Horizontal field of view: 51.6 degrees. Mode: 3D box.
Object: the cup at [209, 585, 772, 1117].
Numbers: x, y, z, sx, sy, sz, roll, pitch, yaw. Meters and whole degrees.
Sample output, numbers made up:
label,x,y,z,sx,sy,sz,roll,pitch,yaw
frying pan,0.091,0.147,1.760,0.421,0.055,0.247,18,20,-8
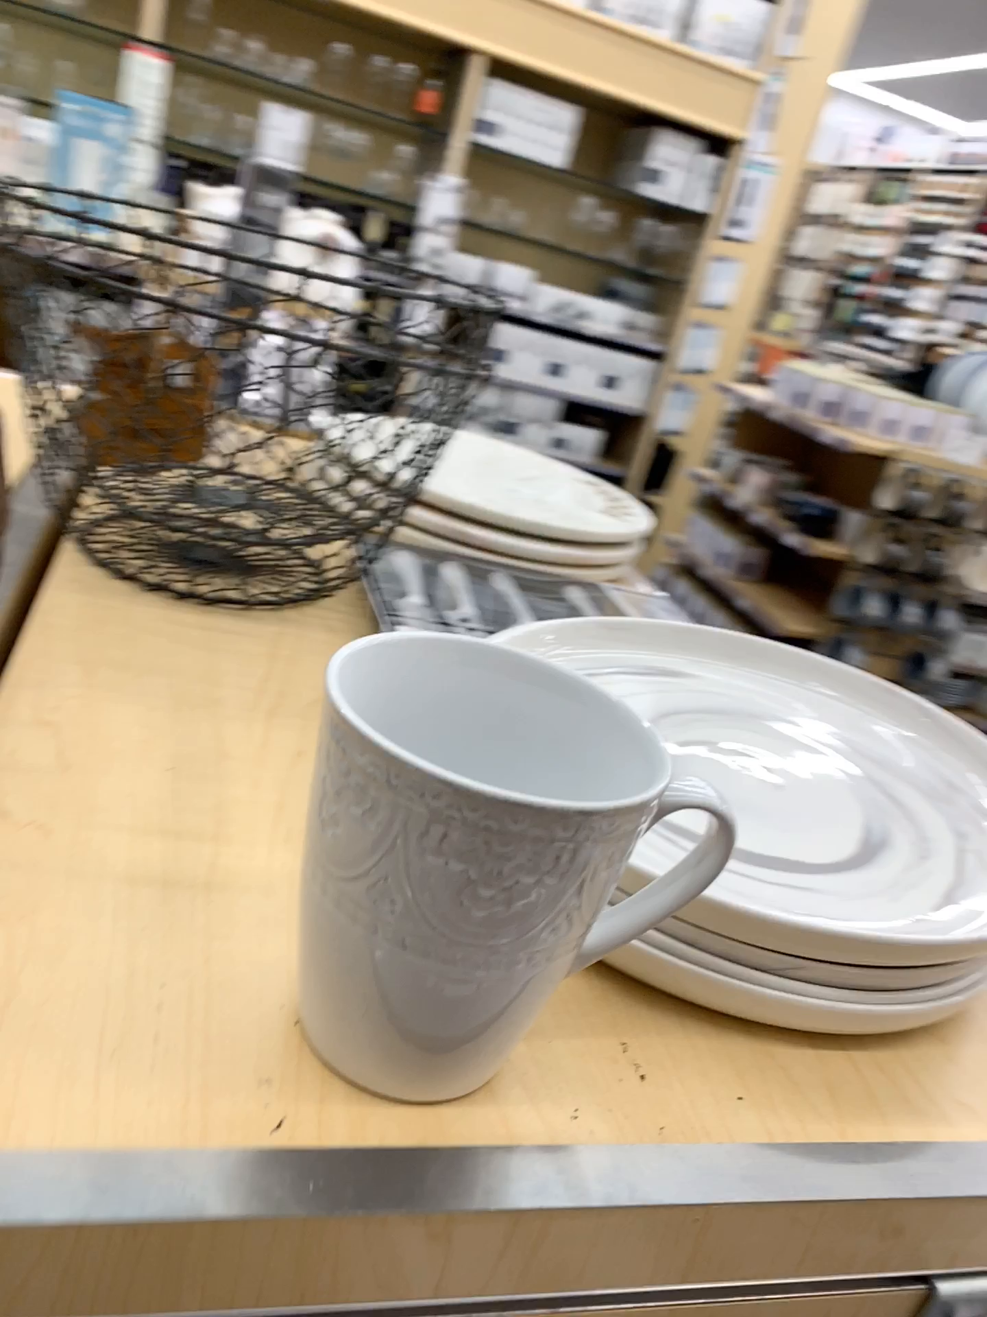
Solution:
label,x,y,z,sx,sy,sz,roll,pitch,yaw
cup,-0.010,0.056,0.307,0.124,0.107,0.099,9,23,-15
